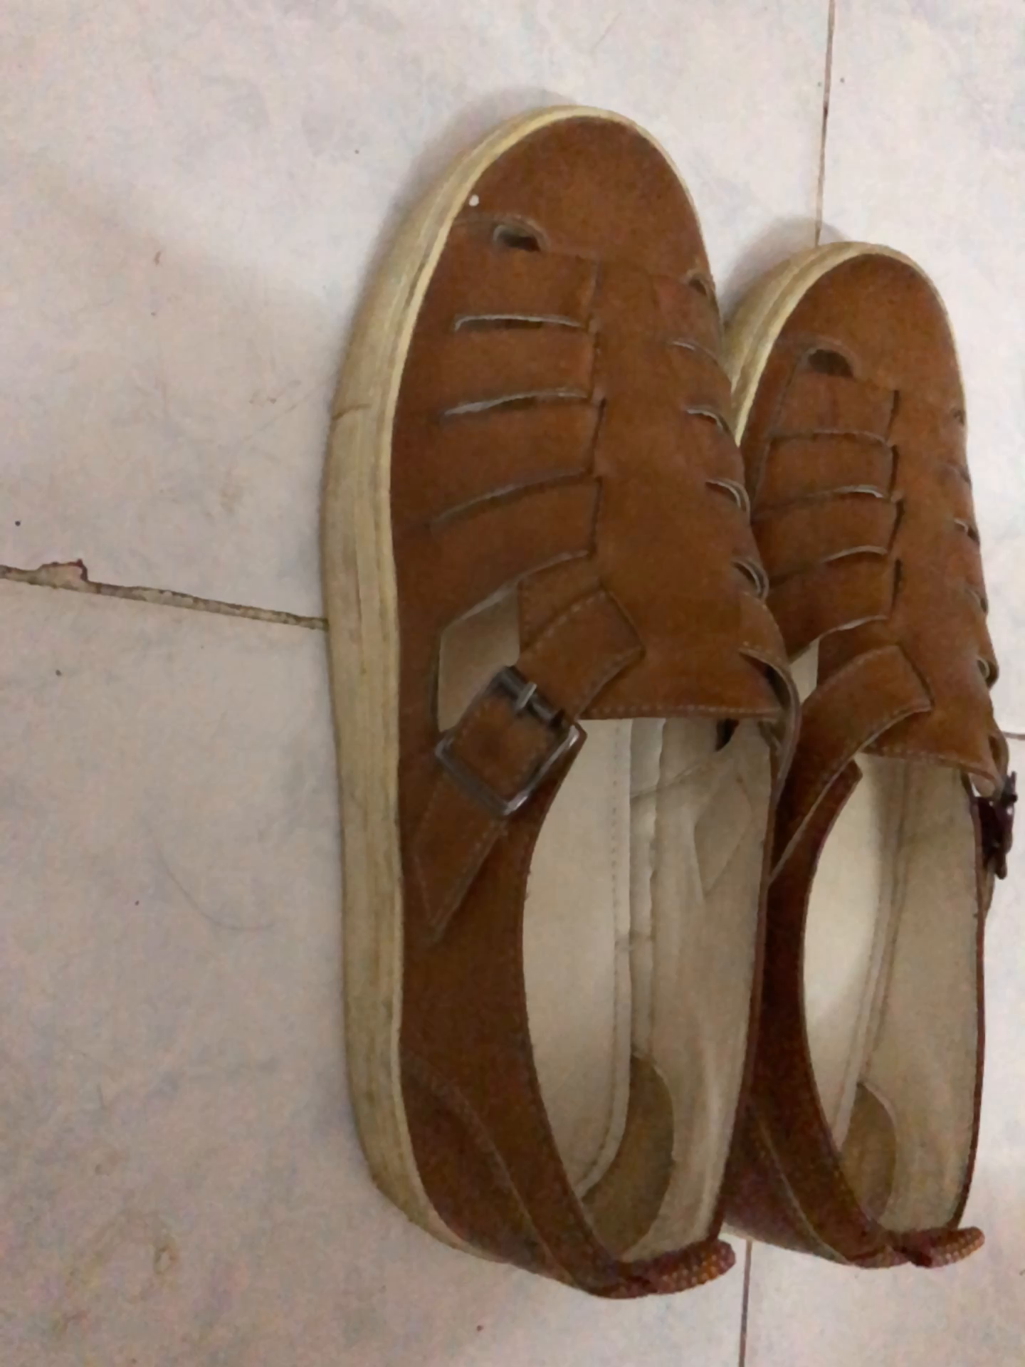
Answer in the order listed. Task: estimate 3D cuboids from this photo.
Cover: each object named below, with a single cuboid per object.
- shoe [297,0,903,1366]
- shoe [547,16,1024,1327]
[{"bbox_3d":[0.020,-0.017,0.290,0.110,0.100,0.300,4,85,-29],"label":"shoe"},{"bbox_3d":[0.098,-0.002,0.327,0.110,0.100,0.300,10,81,-29],"label":"shoe"}]
